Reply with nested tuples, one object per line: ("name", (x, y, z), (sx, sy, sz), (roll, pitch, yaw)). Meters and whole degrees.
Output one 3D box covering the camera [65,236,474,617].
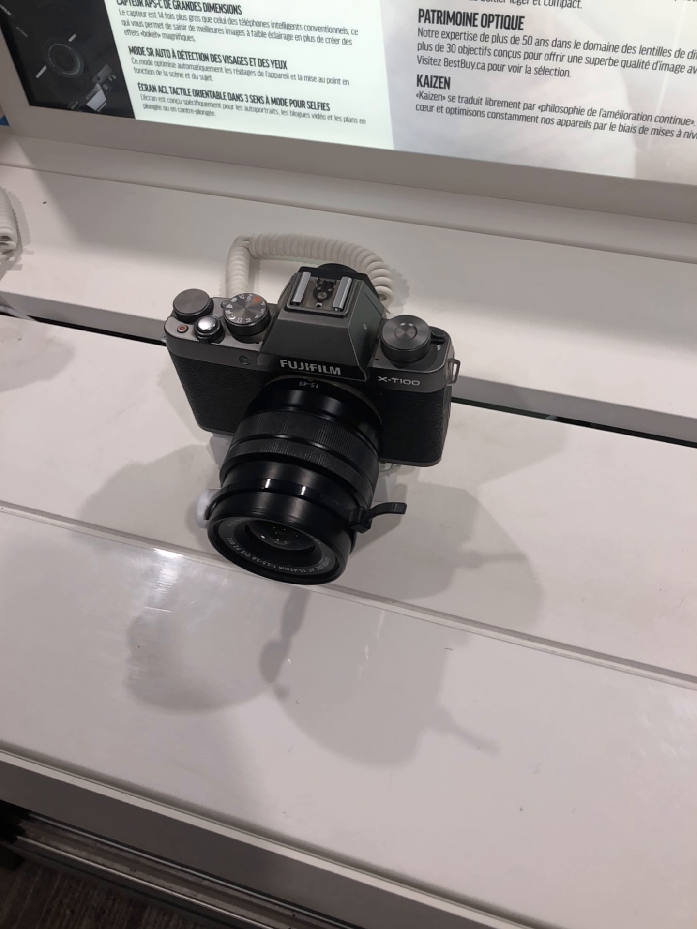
("camera", (-0.023, -0.018, 0.337), (0.130, 0.099, 0.107), (11, 53, 13))
